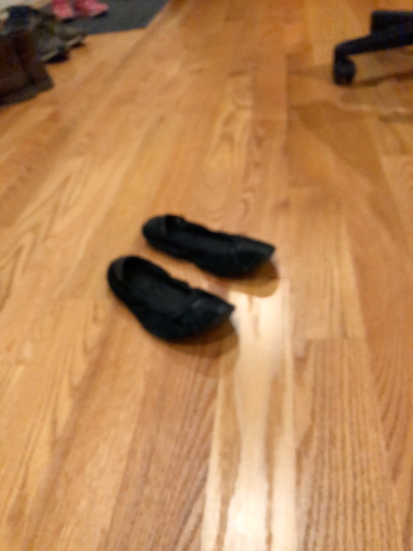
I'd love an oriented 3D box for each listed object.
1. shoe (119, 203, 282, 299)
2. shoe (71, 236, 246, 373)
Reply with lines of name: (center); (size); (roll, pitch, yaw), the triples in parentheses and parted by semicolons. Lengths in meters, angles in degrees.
shoe: (-0.011, -0.043, 0.681); (0.220, 0.046, 0.093); (18, 46, 31)
shoe: (-0.067, 0.027, 0.608); (0.221, 0.050, 0.100); (26, 51, 37)
